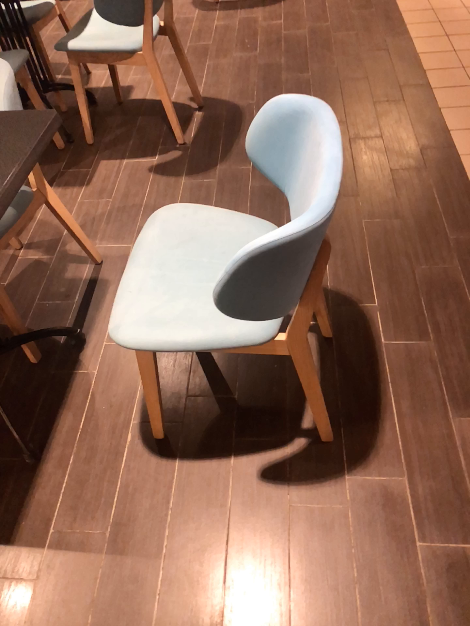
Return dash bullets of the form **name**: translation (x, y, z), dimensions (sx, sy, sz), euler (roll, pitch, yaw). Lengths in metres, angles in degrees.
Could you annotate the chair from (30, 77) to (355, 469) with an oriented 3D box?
- **chair**: translation (-0.011, -0.045, 1.247), dimensions (0.510, 0.817, 0.482), euler (1, 49, 8)
